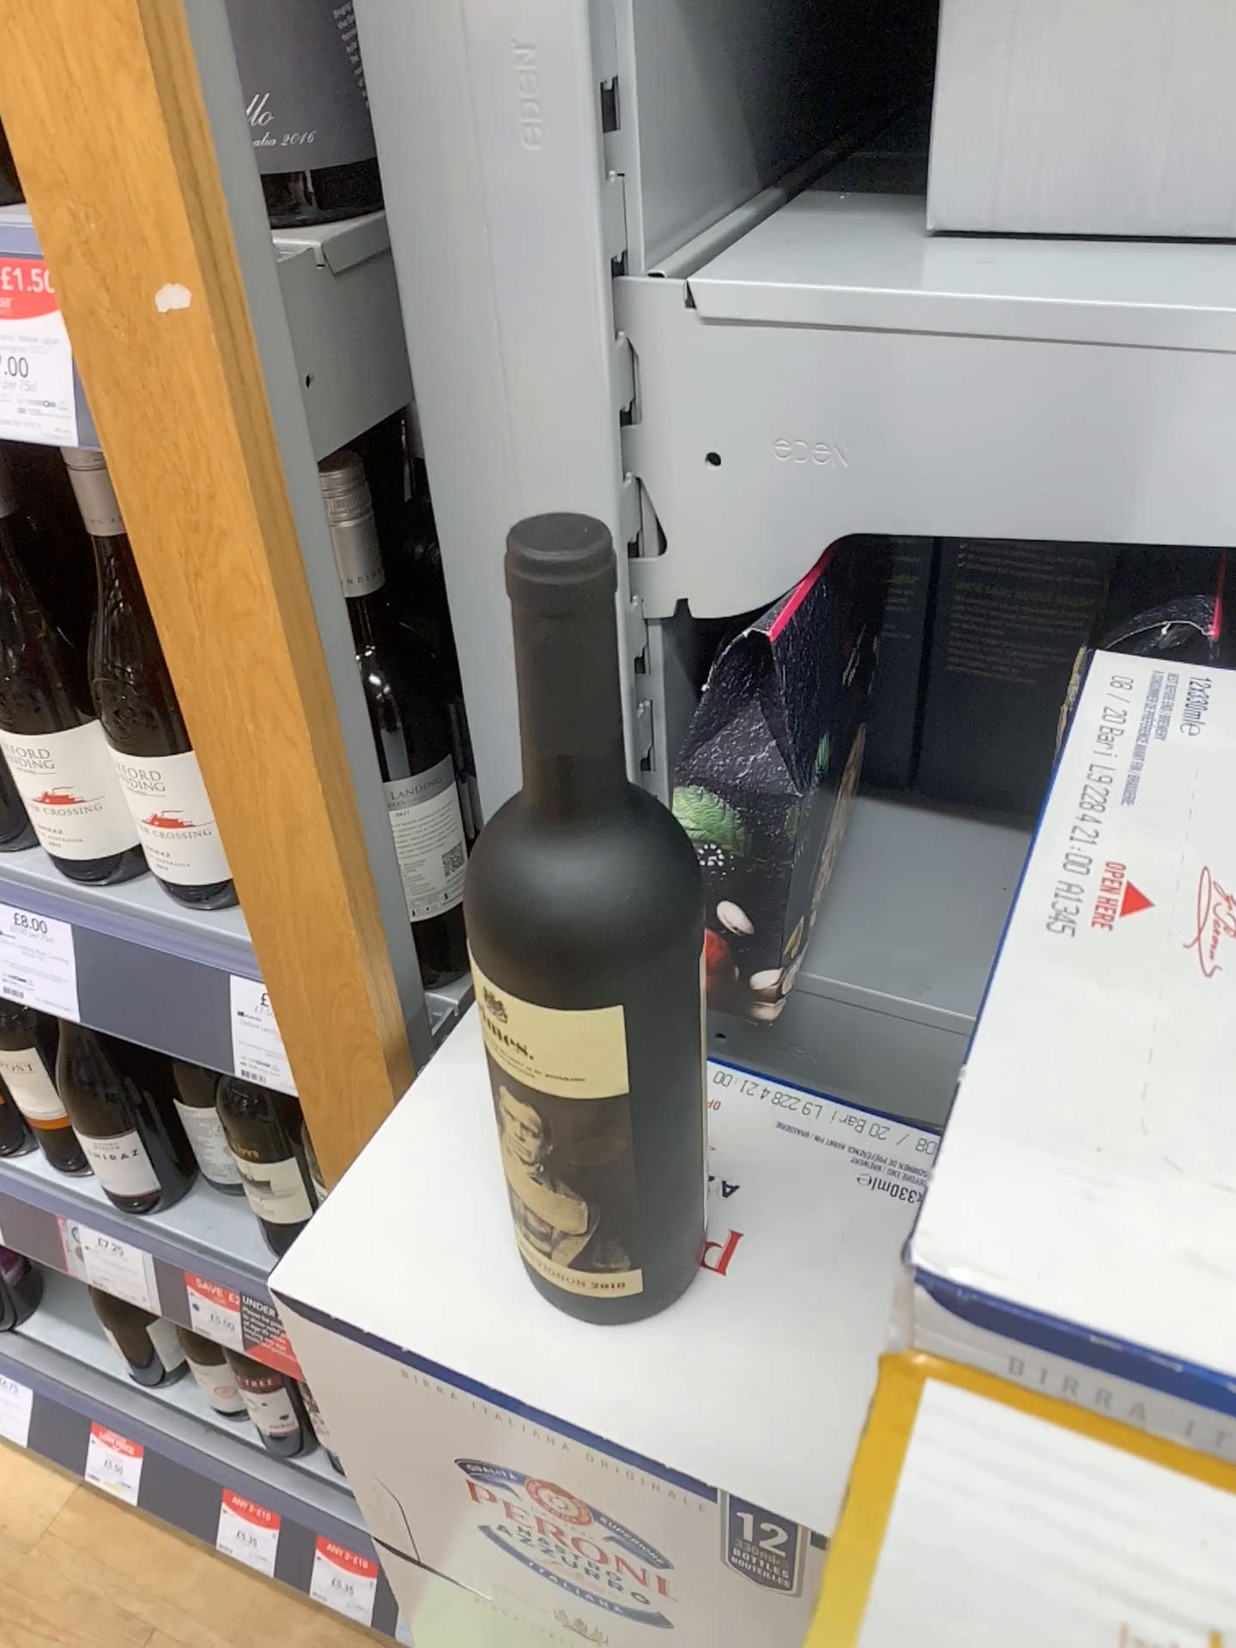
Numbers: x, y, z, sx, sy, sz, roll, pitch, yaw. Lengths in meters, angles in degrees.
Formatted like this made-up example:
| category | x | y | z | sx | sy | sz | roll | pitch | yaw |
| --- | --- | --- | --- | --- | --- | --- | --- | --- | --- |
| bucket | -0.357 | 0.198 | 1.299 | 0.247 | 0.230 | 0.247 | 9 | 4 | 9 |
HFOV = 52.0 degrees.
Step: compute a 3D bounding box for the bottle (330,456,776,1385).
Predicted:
| category | x | y | z | sx | sy | sz | roll | pitch | yaw |
| --- | --- | --- | --- | --- | --- | --- | --- | --- | --- |
| bottle | -0.008 | 0.046 | 0.392 | 0.075 | 0.288 | 0.079 | -3 | 38 | 2 |
